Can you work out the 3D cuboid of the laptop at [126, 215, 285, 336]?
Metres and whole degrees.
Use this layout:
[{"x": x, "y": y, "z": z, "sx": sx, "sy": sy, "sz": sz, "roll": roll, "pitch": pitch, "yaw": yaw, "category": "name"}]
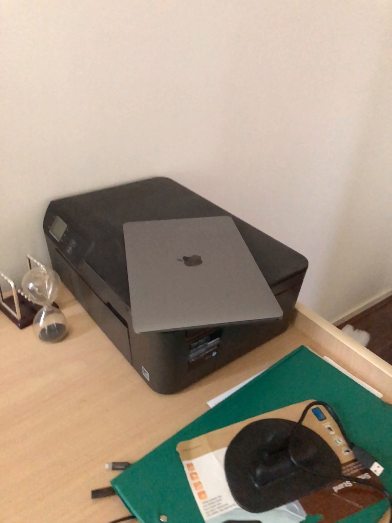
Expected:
[{"x": -0.004, "y": 0.004, "z": 0.645, "sx": 0.188, "sy": 0.007, "sz": 0.267, "roll": -5, "pitch": 35, "yaw": -9, "category": "laptop"}]
